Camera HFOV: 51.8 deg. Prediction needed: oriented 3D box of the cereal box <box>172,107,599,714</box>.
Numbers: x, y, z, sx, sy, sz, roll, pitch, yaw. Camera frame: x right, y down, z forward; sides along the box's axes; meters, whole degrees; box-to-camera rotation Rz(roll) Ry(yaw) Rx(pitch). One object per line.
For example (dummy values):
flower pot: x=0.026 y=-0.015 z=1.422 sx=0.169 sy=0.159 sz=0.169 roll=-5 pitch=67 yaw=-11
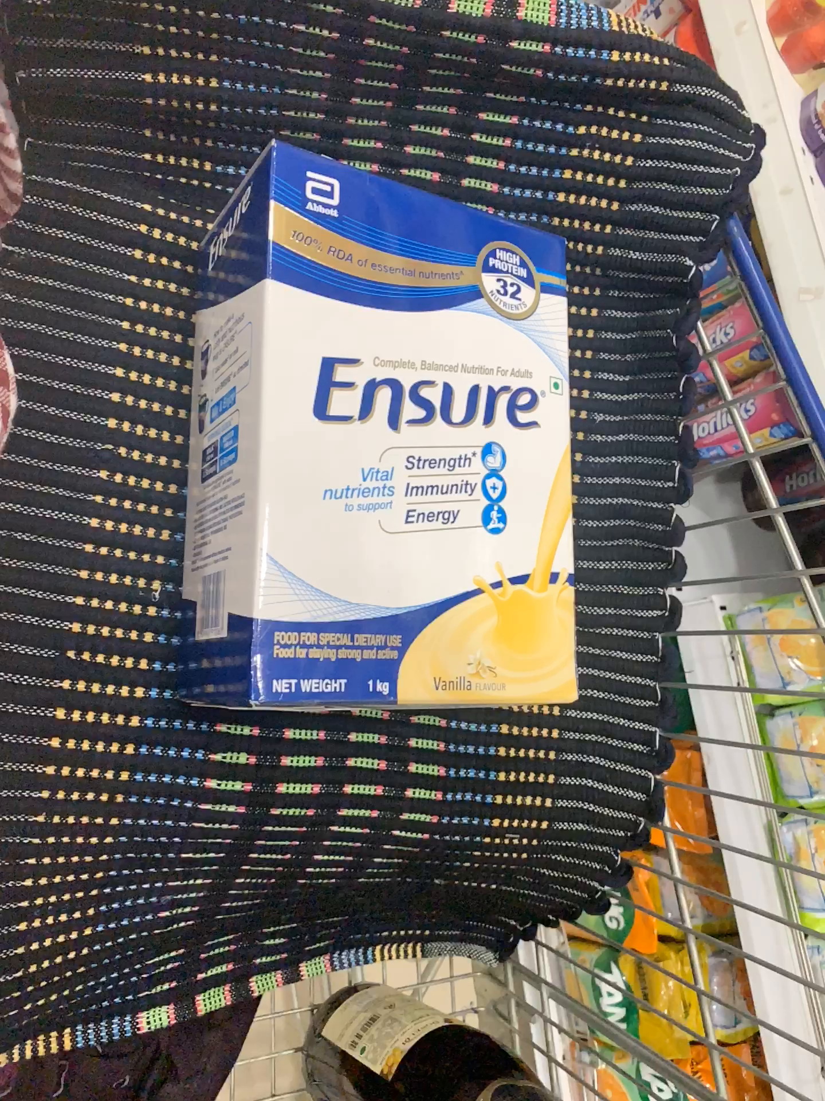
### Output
cereal box: x=-0.012 y=-0.042 z=0.369 sx=0.150 sy=0.090 sz=0.220 roll=6 pitch=77 yaw=-30
